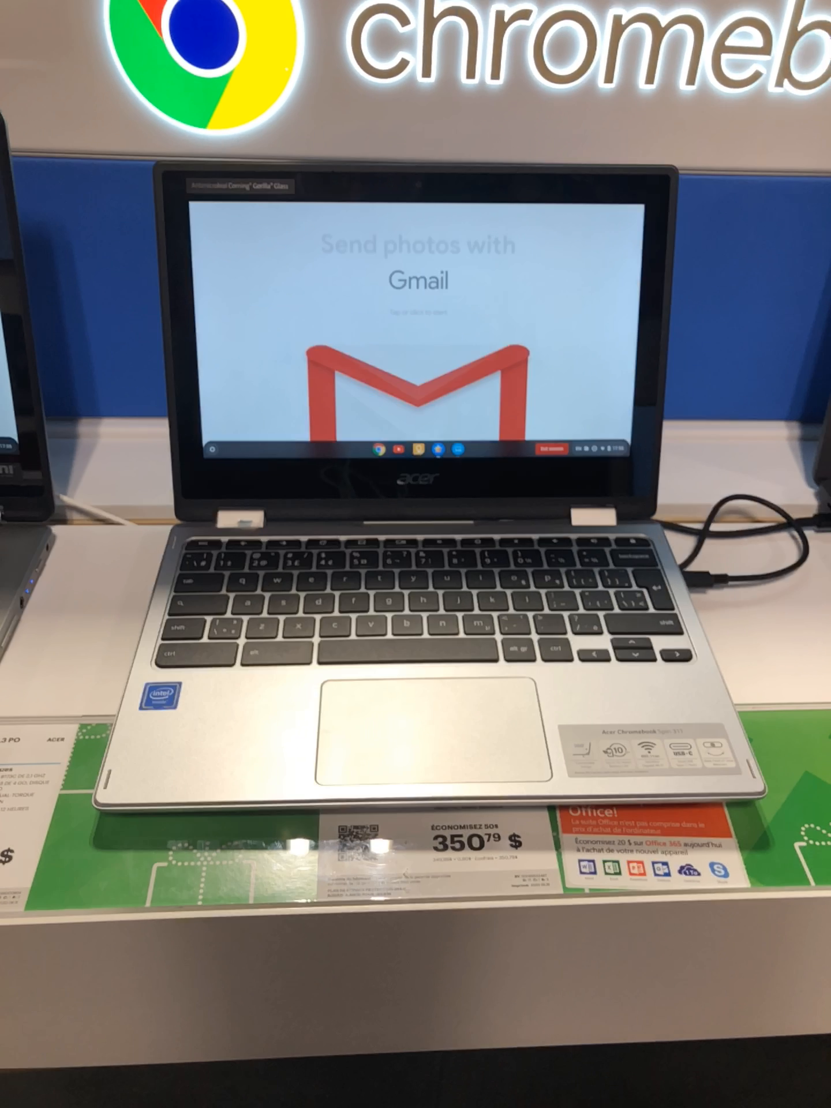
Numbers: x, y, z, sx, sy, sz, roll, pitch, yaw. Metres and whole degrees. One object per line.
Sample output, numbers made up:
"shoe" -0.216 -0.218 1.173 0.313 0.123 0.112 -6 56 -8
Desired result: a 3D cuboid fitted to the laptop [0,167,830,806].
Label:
"laptop" 0.007 -0.051 0.447 0.284 0.181 0.274 0 38 -4
